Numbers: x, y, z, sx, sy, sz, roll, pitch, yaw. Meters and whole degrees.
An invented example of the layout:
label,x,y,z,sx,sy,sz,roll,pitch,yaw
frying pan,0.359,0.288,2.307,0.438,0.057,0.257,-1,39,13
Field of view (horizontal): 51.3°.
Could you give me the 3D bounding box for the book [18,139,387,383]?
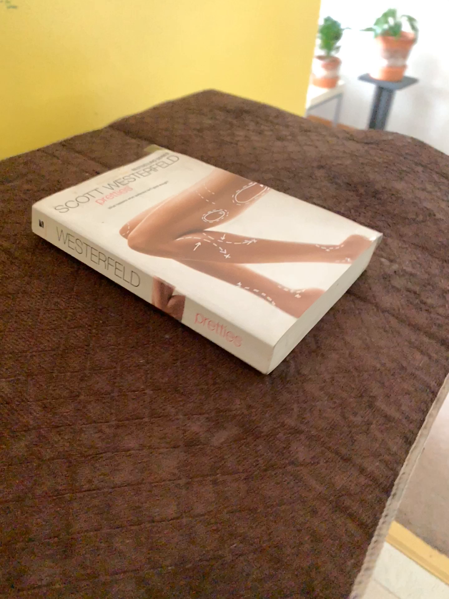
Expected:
label,x,y,z,sx,sy,sz,roll,pitch,yaw
book,-0.017,-0.050,0.345,0.221,0.030,0.151,29,47,26
